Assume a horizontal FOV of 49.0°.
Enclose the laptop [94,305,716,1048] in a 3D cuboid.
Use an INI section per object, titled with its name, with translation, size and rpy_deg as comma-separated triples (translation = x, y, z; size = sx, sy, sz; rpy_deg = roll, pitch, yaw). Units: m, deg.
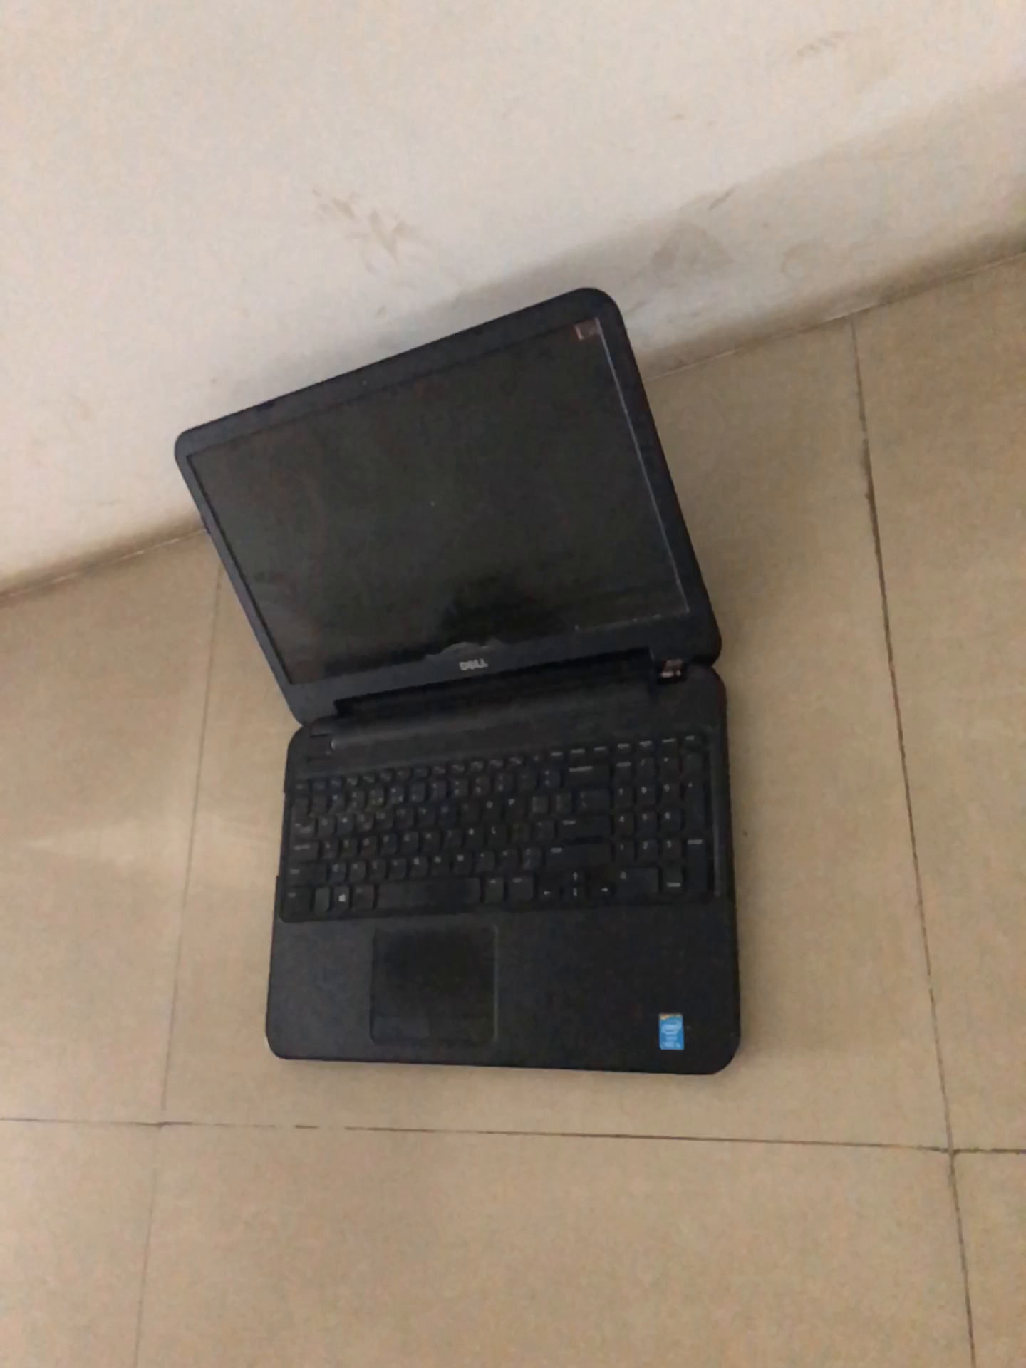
[laptop]
translation = -0.063, 0.017, 0.731
size = 0.323, 0.165, 0.409
rpy_deg = -10, 67, 28
